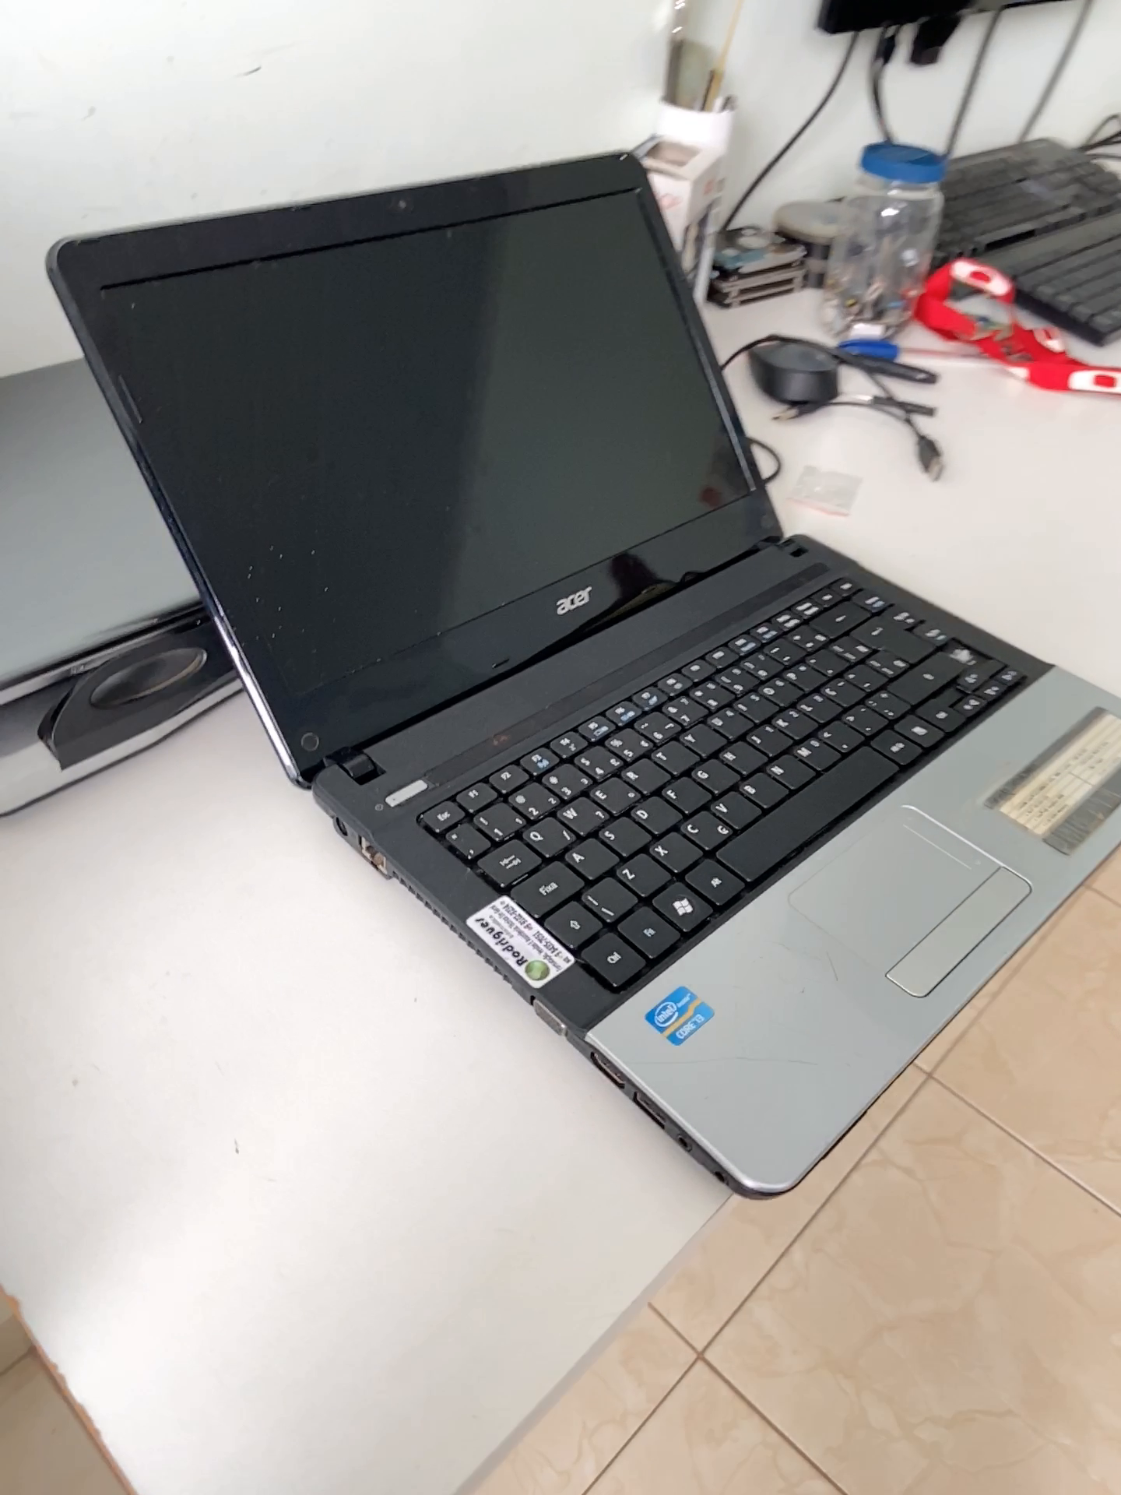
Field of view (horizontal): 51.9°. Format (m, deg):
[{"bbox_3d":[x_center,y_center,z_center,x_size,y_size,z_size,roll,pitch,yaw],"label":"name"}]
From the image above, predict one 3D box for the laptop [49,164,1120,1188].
[{"bbox_3d":[0.050,-0.095,0.495,0.333,0.162,0.396,-29,52,-35],"label":"laptop"}]
